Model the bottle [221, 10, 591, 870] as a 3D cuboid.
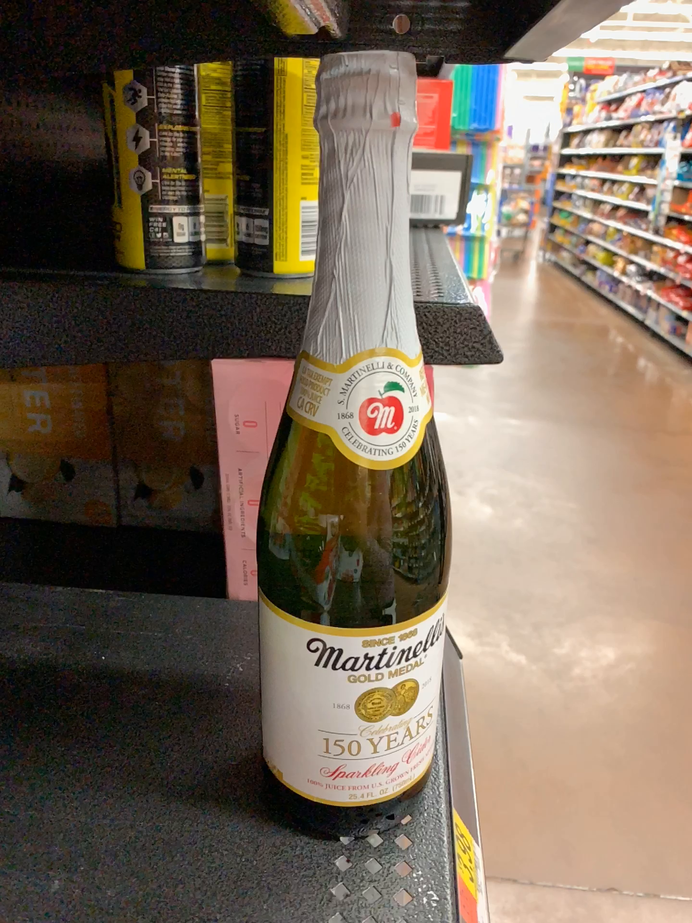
[{"bbox_3d":[0.004,0.007,0.284,0.089,0.299,0.090,3,23,-1],"label":"bottle"}]
